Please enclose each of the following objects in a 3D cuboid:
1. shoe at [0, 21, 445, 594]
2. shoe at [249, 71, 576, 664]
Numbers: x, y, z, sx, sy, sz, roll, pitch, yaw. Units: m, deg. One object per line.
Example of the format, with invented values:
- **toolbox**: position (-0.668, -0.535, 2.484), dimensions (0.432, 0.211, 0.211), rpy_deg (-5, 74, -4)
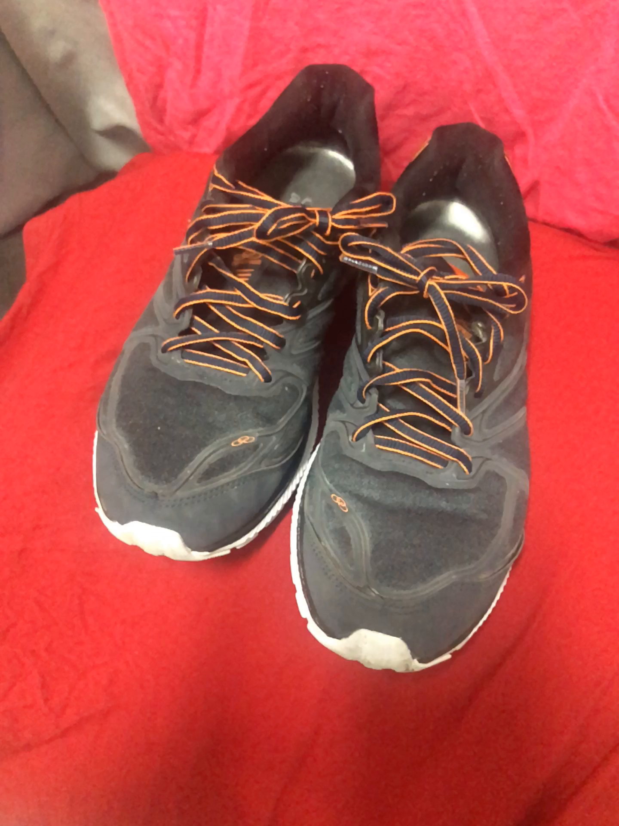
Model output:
- **shoe**: position (-0.025, -0.072, 0.346), dimensions (0.110, 0.089, 0.282), rpy_deg (18, 57, 6)
- **shoe**: position (0.057, -0.040, 0.348), dimensions (0.110, 0.099, 0.282), rpy_deg (12, 57, 2)
